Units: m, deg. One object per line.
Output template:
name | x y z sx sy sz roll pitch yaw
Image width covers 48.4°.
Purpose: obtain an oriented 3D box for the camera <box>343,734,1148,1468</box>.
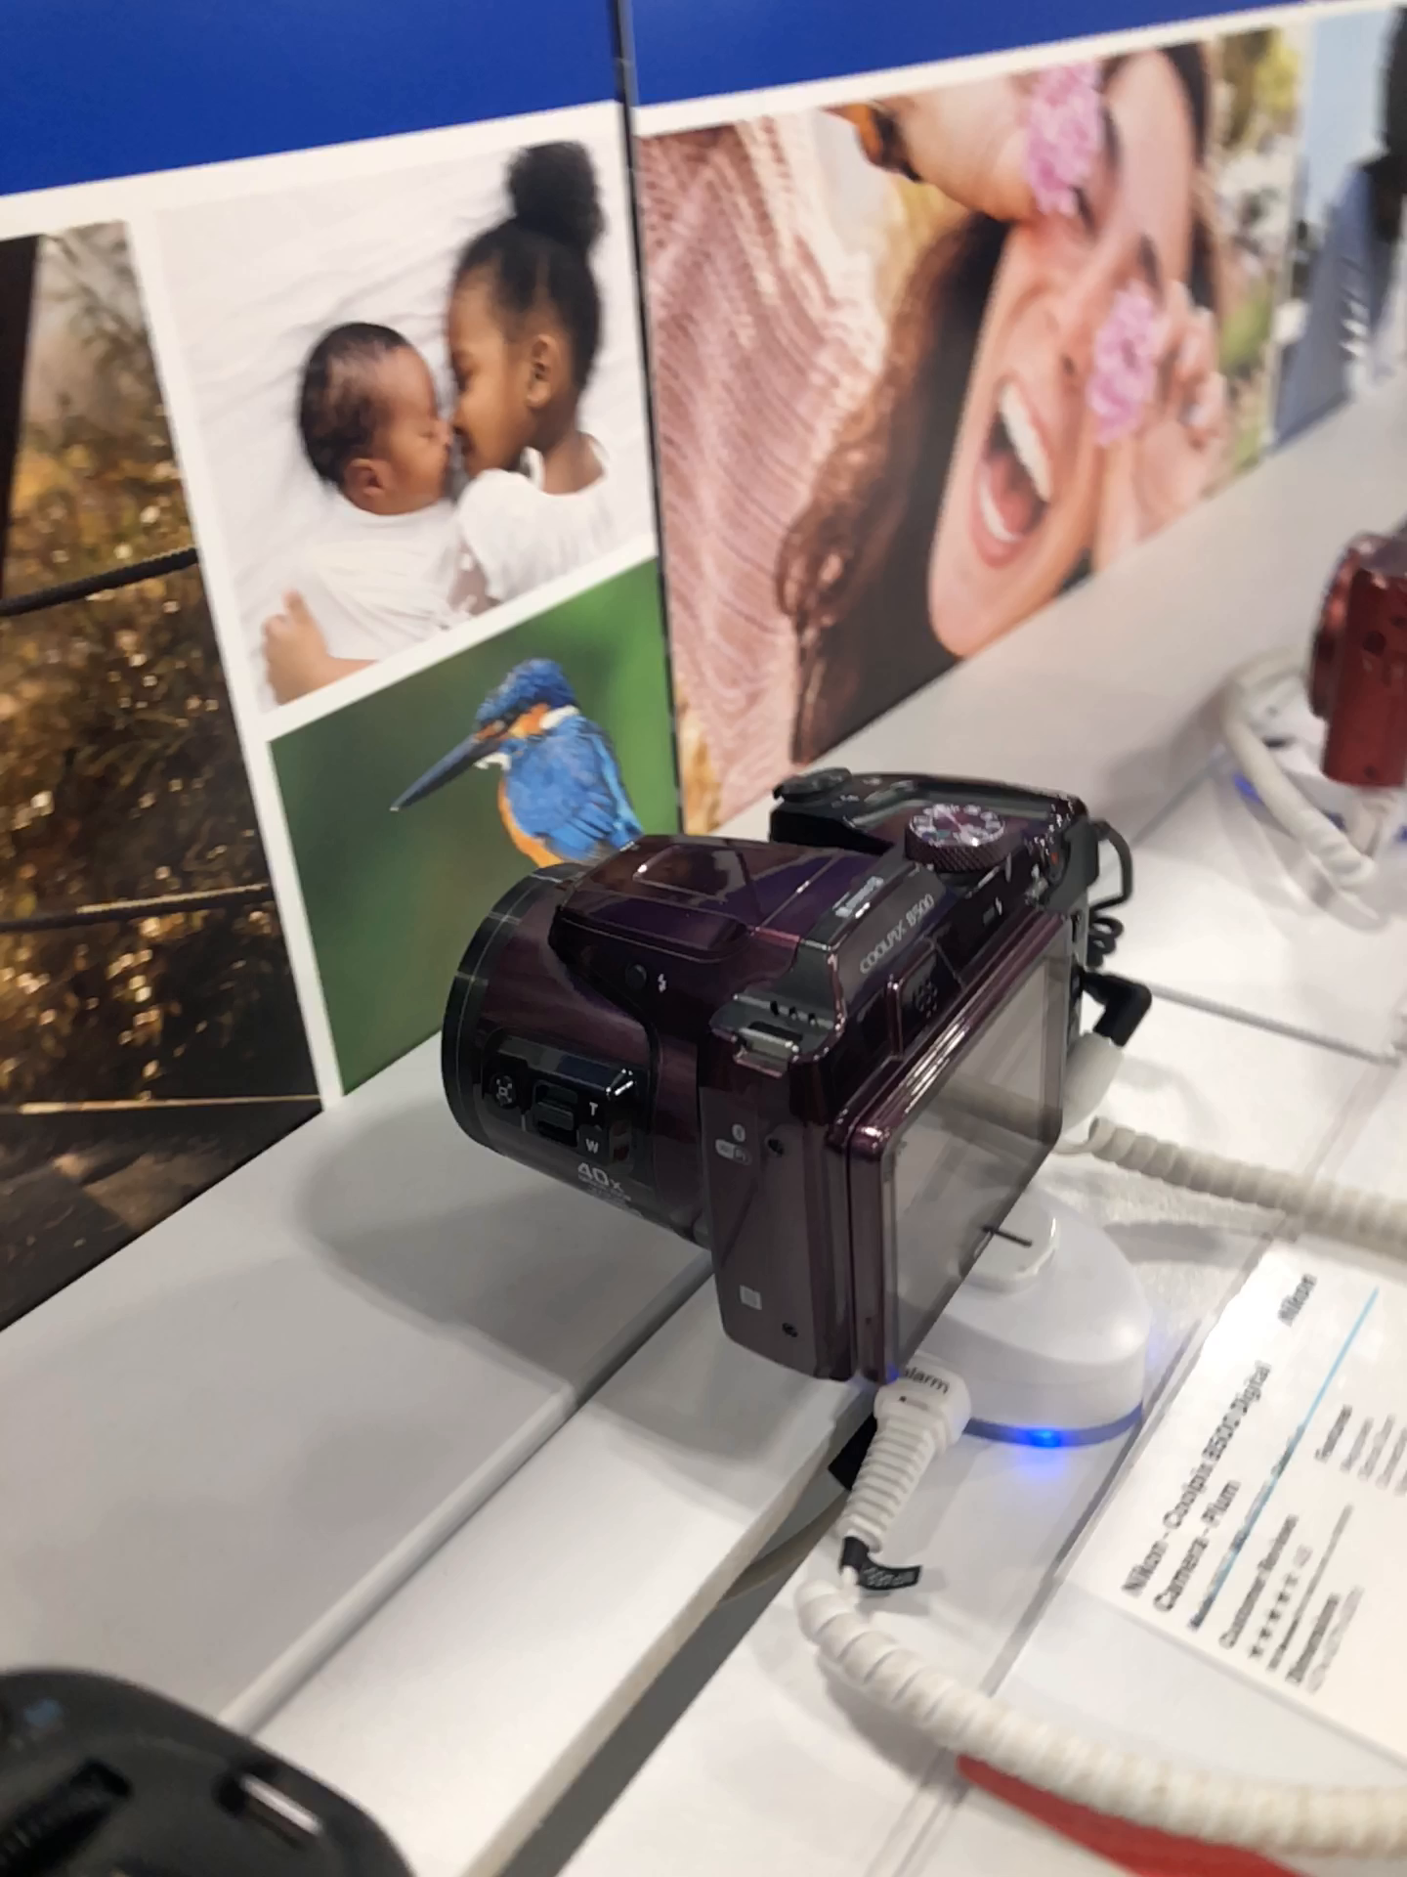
camera | 0.015 0.019 0.300 0.100 0.060 0.121 14 36 29
